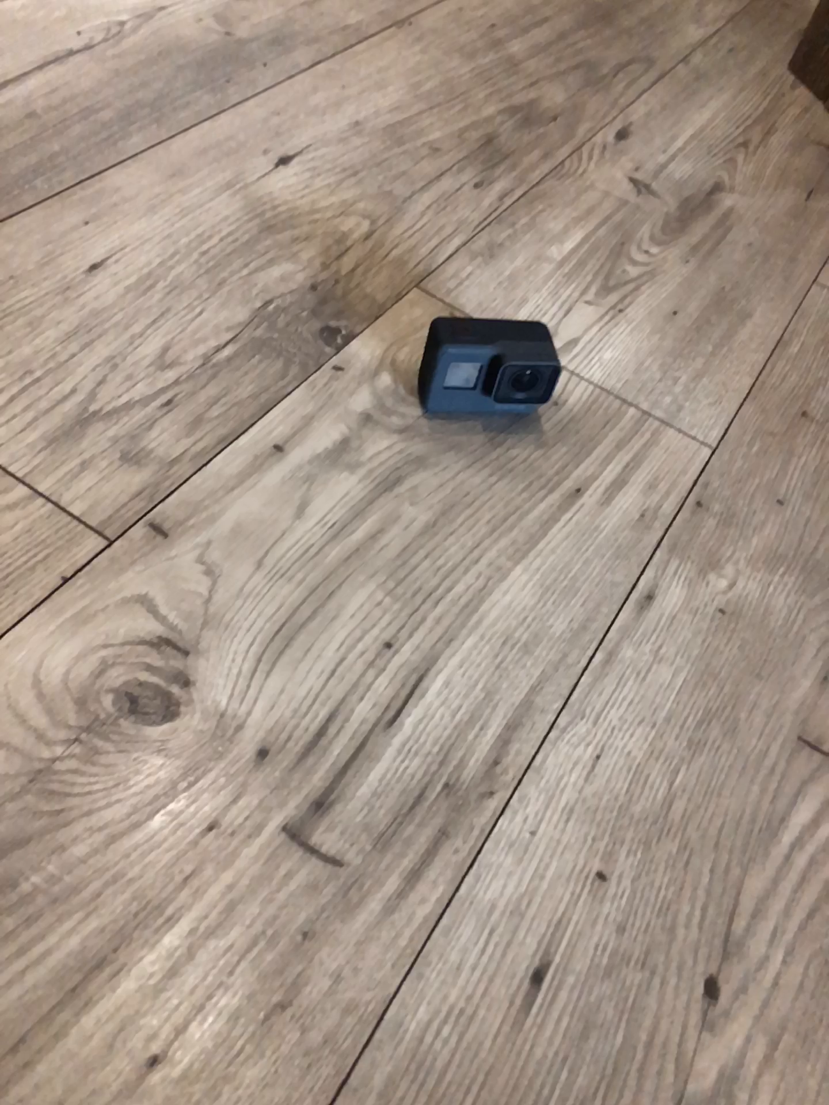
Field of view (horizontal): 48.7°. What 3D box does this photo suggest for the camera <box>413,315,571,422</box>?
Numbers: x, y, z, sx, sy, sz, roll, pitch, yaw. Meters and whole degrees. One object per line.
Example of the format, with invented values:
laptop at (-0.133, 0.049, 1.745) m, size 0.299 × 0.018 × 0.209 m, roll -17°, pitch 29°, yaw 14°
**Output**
camera at (0.037, -0.090, 0.453) m, size 0.065 × 0.040 × 0.032 m, roll -2°, pitch 53°, yaw -14°
